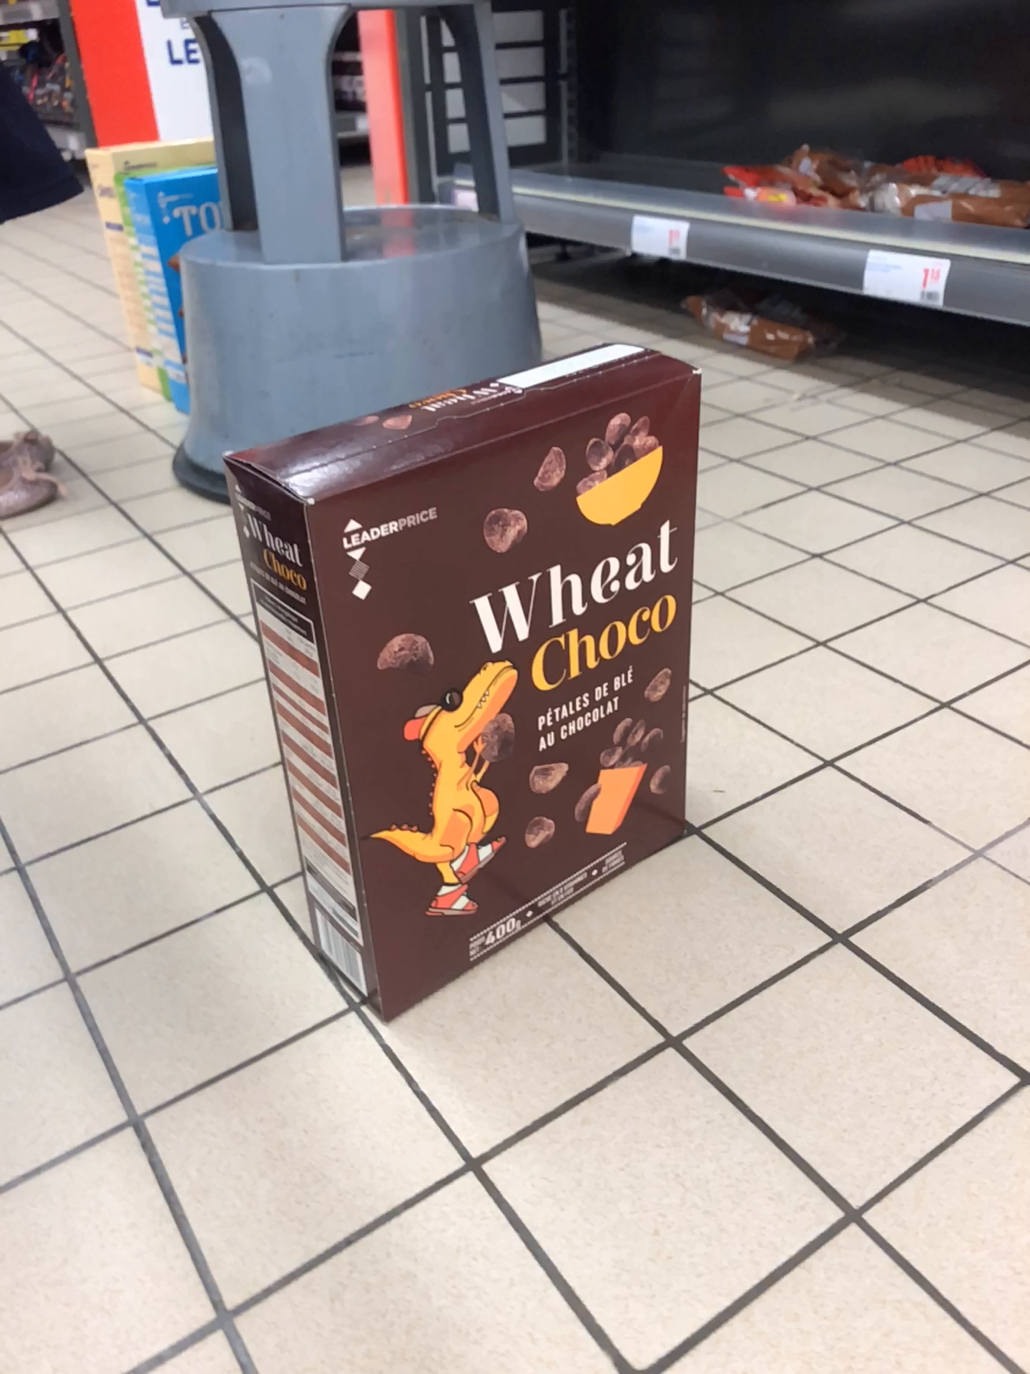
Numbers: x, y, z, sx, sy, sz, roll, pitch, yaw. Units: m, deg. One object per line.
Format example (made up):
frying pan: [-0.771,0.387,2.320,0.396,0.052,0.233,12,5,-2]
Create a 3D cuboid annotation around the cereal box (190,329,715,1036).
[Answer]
cereal box: [-0.010,-0.006,0.501,0.201,0.249,0.070,-25,36,-31]
